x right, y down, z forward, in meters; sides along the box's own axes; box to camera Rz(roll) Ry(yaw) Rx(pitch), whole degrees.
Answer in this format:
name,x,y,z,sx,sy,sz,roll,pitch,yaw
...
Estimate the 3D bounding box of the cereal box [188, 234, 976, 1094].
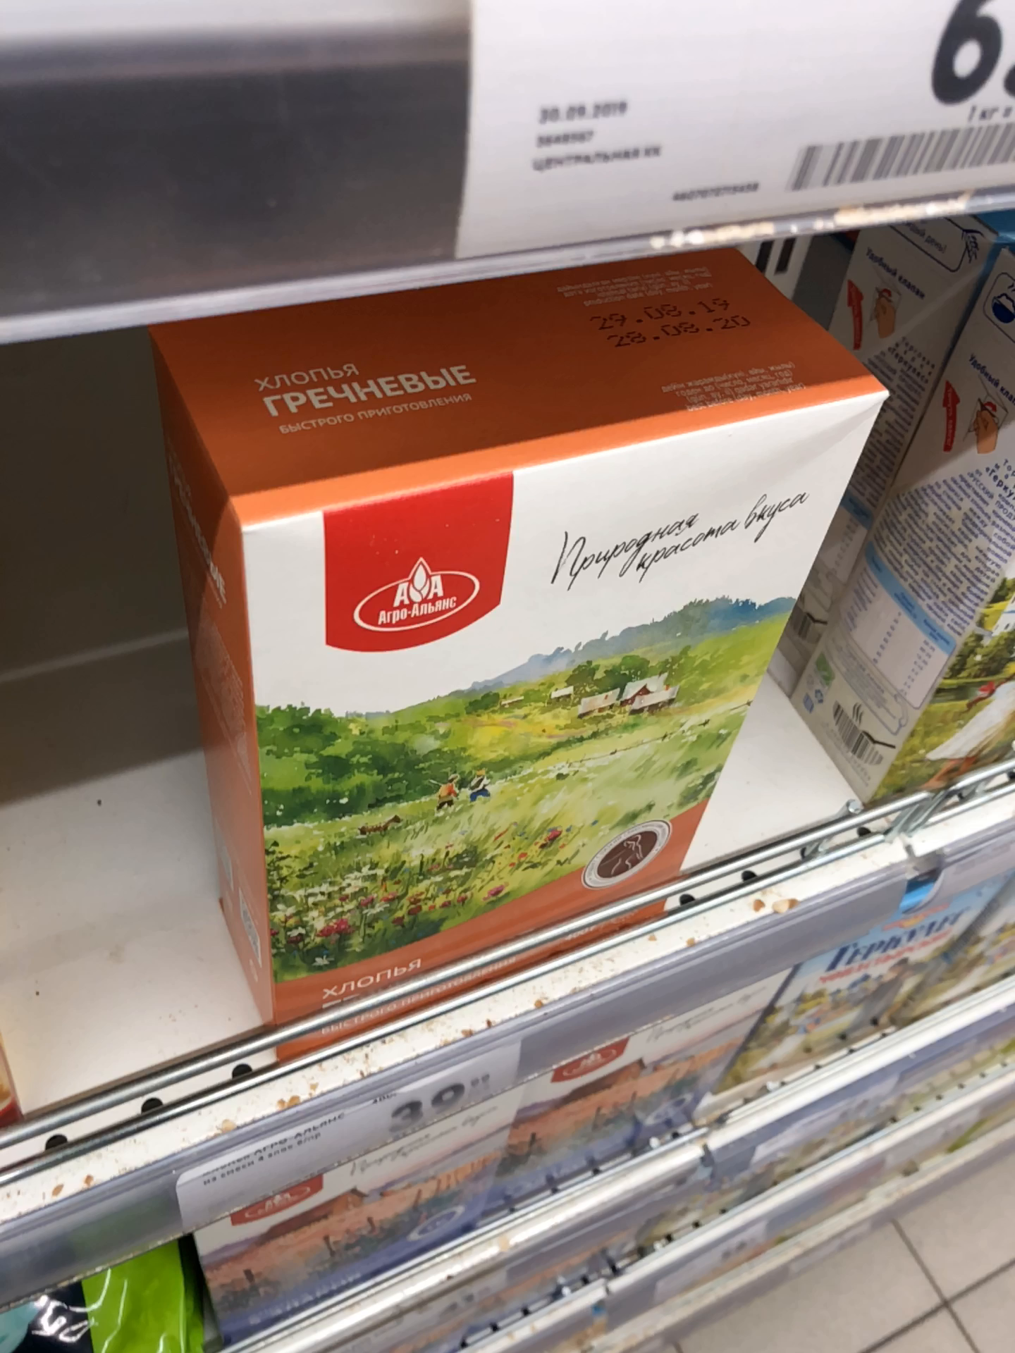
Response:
name,x,y,z,sx,sy,sz,roll,pitch,yaw
cereal box,0.004,0.008,0.274,0.130,0.199,0.060,-15,52,-22
